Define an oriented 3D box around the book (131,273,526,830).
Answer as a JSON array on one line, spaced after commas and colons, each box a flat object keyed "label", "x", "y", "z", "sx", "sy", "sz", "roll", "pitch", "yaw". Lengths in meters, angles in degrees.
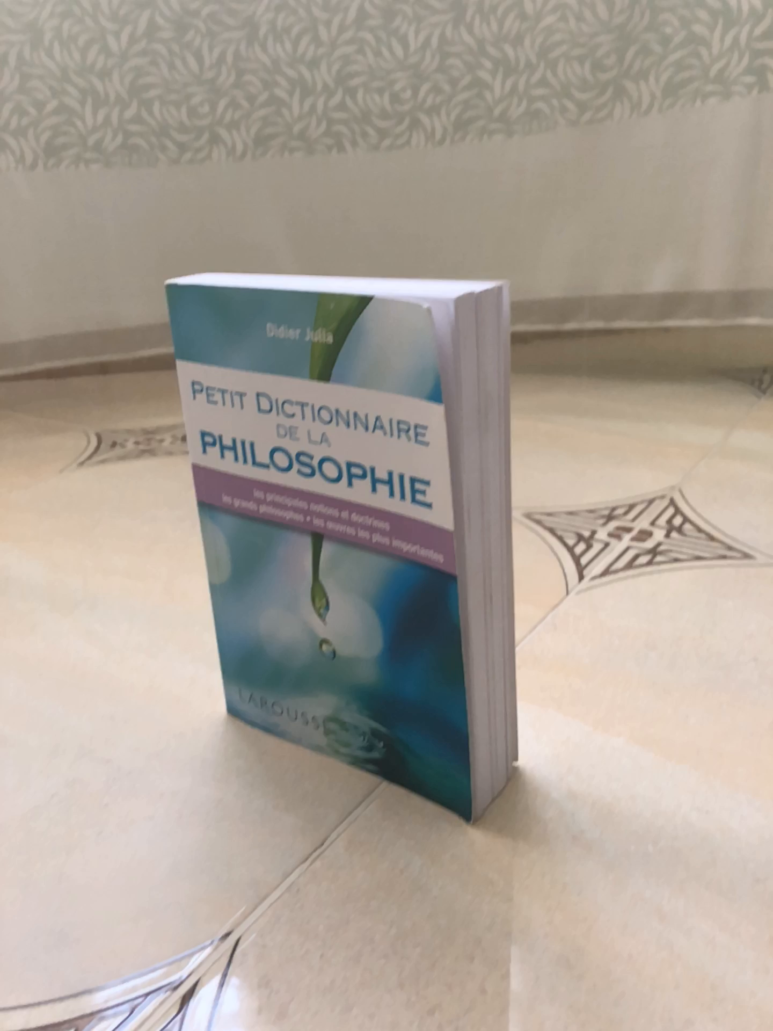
[{"label": "book", "x": -0.020, "y": 0.008, "z": 0.322, "sx": 0.140, "sy": 0.185, "sz": 0.034, "roll": 12, "pitch": 29, "yaw": 35}]
